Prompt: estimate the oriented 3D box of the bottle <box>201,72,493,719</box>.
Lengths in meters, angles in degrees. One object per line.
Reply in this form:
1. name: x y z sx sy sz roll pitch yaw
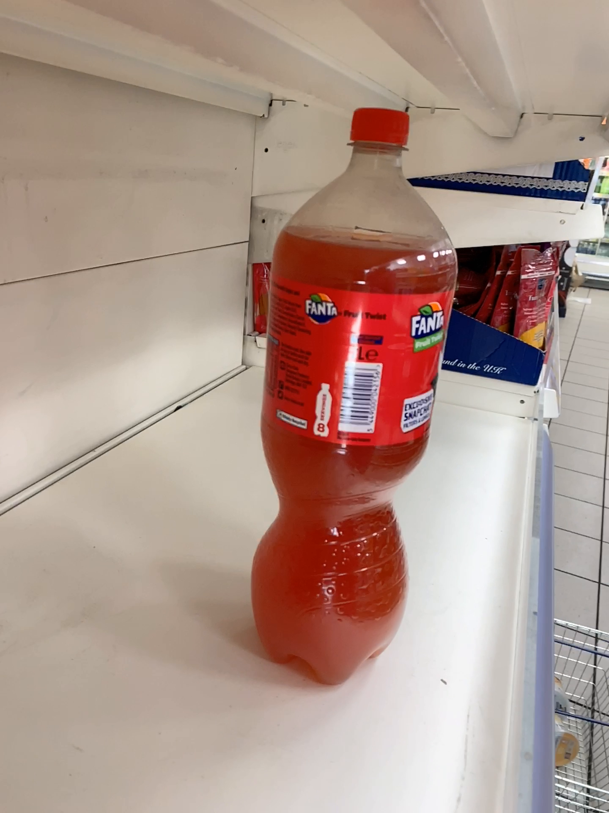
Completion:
1. bottle: 0.018 -0.001 0.368 0.110 0.327 0.121 5 20 -2
